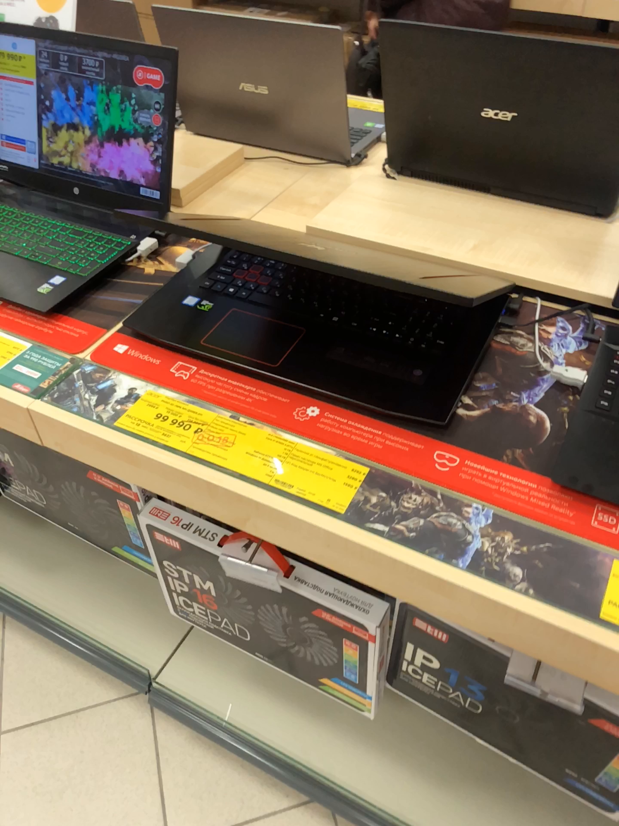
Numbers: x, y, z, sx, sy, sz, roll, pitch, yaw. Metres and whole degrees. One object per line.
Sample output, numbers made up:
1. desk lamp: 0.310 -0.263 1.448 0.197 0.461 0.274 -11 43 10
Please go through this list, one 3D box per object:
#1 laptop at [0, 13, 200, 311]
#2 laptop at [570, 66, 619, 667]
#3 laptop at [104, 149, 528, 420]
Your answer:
1. laptop: -0.423 -0.379 0.975 0.351 0.230 0.343 20 48 20
2. laptop: 0.486 -0.086 0.603 0.377 0.251 0.356 19 49 22
3. laptop: 0.011 -0.180 0.827 0.419 0.124 0.262 18 47 21
